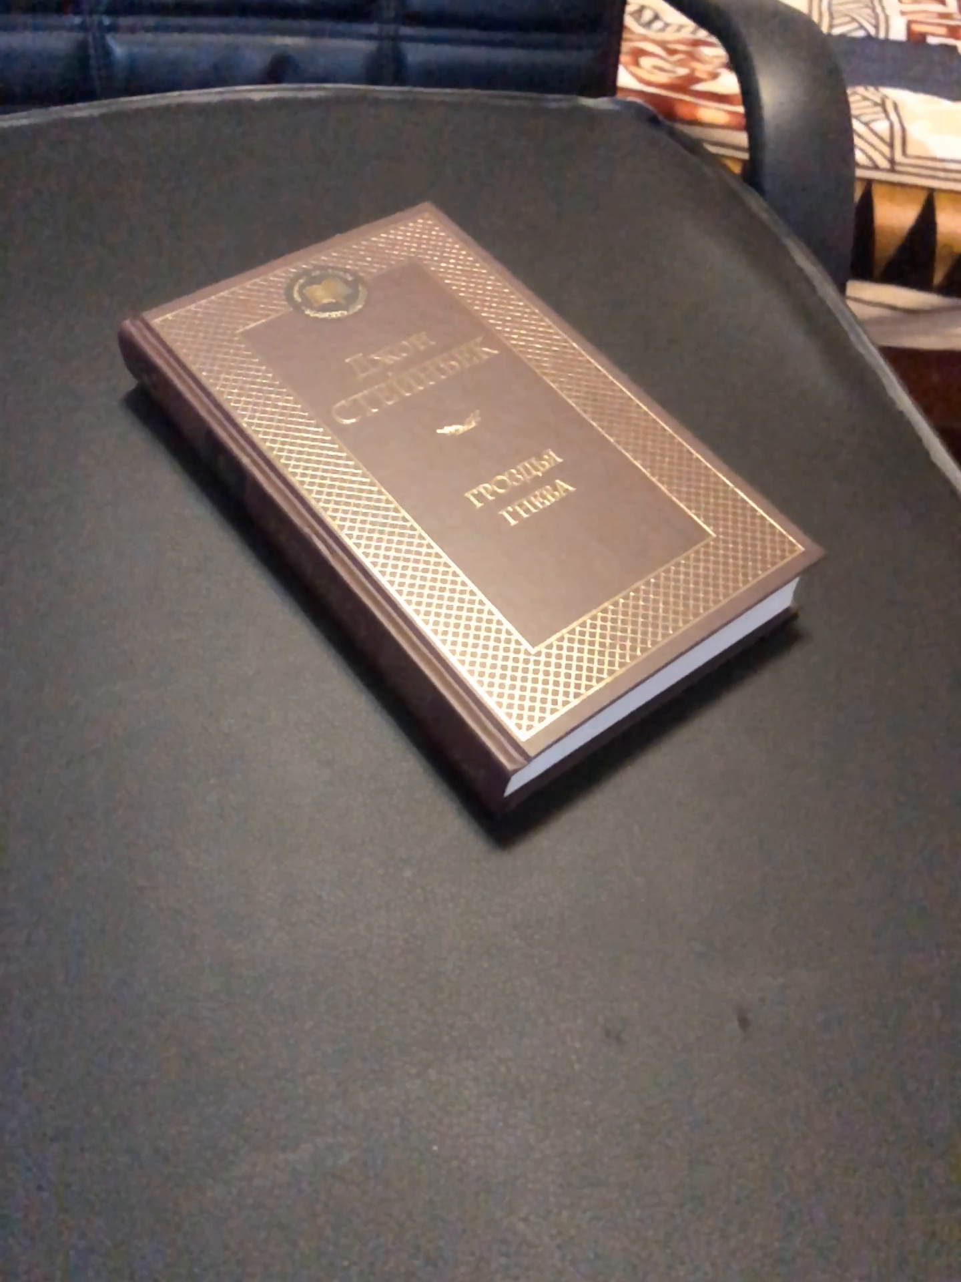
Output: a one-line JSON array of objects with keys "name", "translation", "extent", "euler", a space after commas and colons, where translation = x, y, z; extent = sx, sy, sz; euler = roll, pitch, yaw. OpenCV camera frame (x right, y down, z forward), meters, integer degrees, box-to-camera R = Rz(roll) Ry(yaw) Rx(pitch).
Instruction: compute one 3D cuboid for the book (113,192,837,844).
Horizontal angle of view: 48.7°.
[{"name": "book", "translation": [-0.007, -0.054, 0.346], "extent": [0.130, 0.040, 0.200], "euler": [-31, 67, -25]}]
